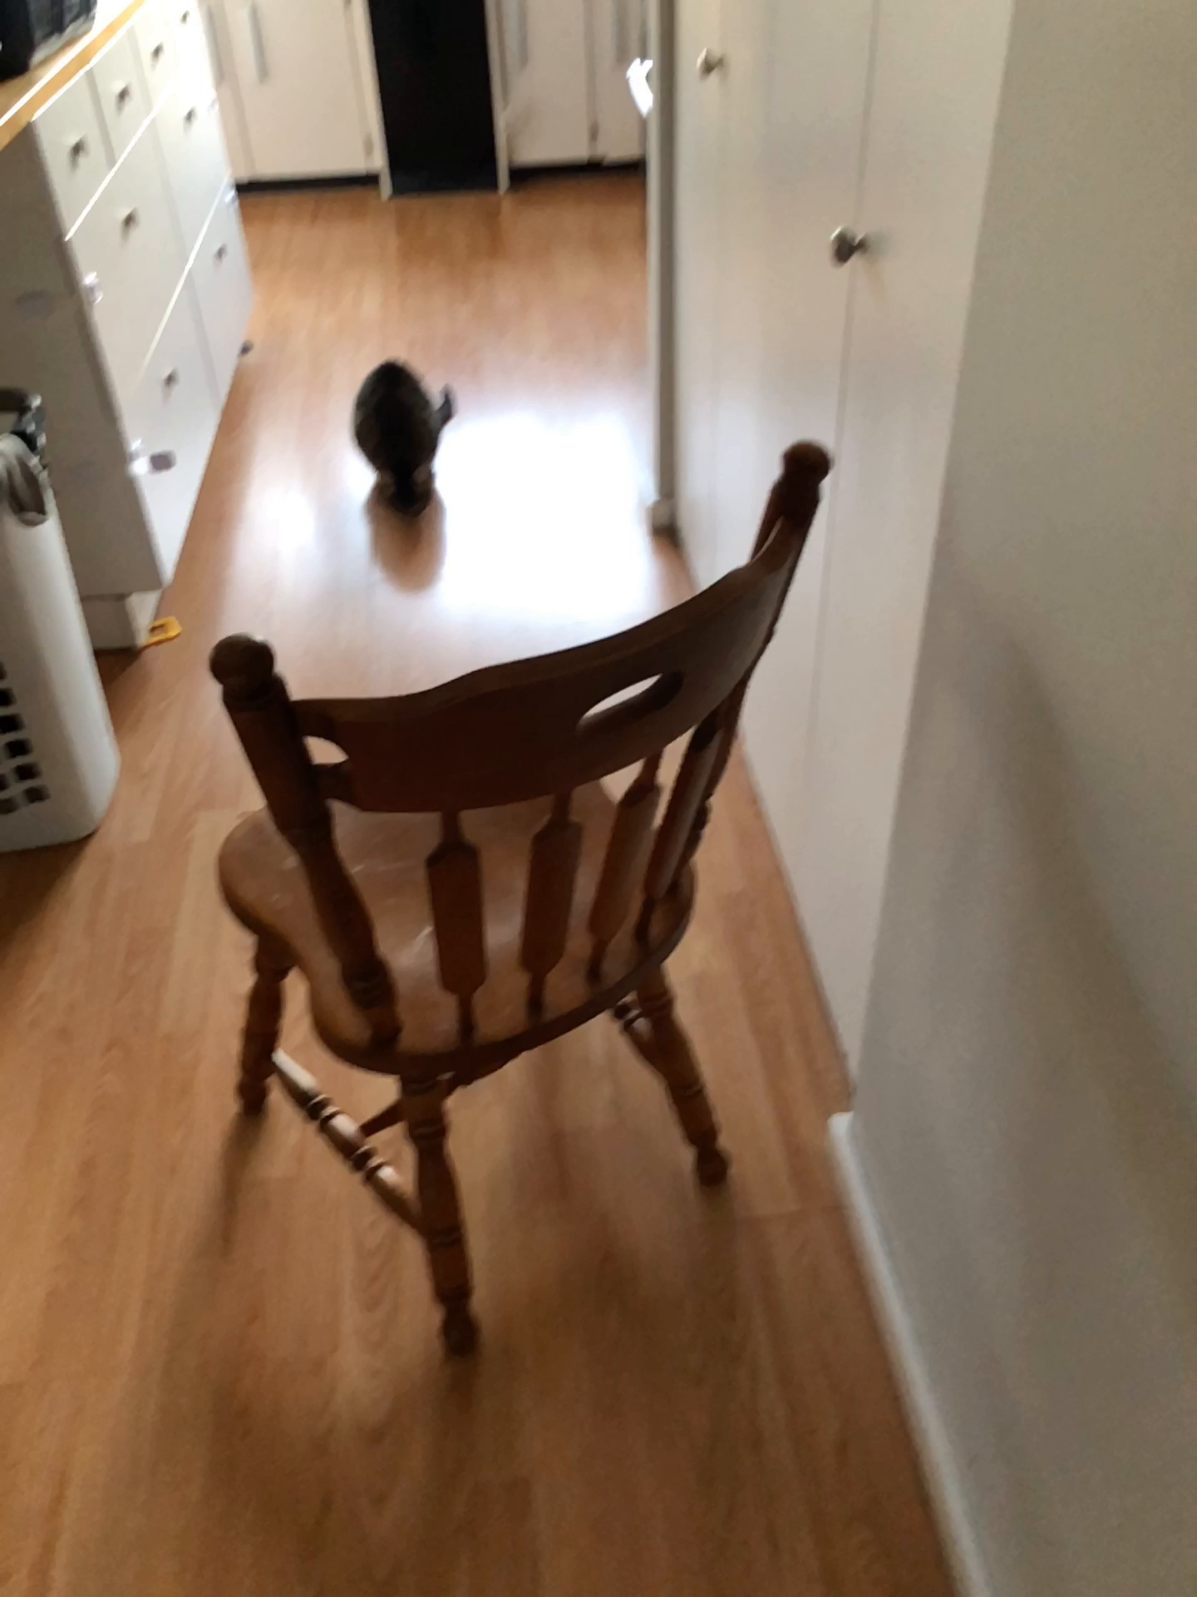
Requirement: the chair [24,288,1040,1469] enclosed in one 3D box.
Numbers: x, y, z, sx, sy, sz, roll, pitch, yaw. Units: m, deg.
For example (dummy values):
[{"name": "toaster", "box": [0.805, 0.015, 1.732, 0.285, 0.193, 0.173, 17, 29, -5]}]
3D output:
[{"name": "chair", "box": [-0.065, 0.057, 1.277, 0.561, 0.816, 0.592, -26, 45, -25]}]
